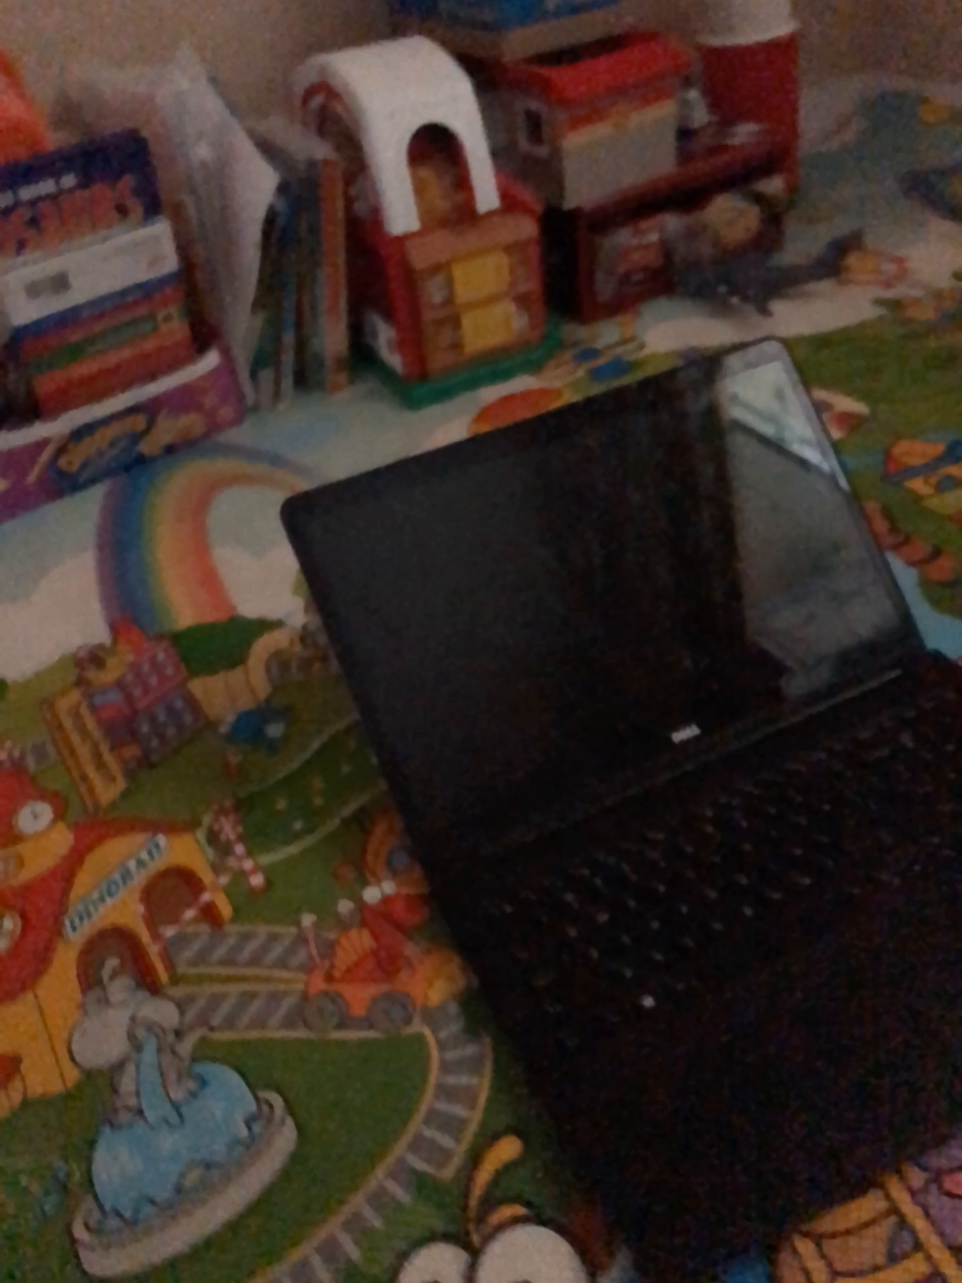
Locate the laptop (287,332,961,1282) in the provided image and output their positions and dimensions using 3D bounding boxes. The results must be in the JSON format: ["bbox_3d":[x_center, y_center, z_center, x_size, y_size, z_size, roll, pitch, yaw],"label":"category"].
[{"bbox_3d":[0.144,0.027,0.595,0.361,0.158,0.431,-22,42,-15],"label":"laptop"}]
